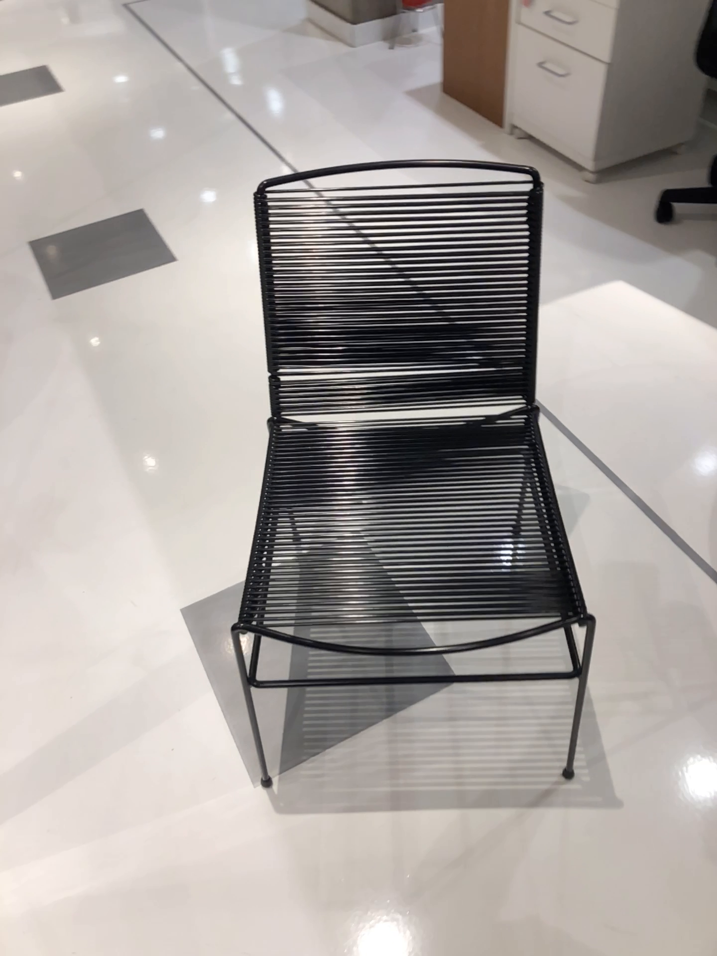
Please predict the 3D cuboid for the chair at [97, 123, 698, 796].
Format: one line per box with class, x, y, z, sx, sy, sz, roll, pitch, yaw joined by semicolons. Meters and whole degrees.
chair;0.057;0.014;1.169;0.520;0.794;0.584;-3;46;3
